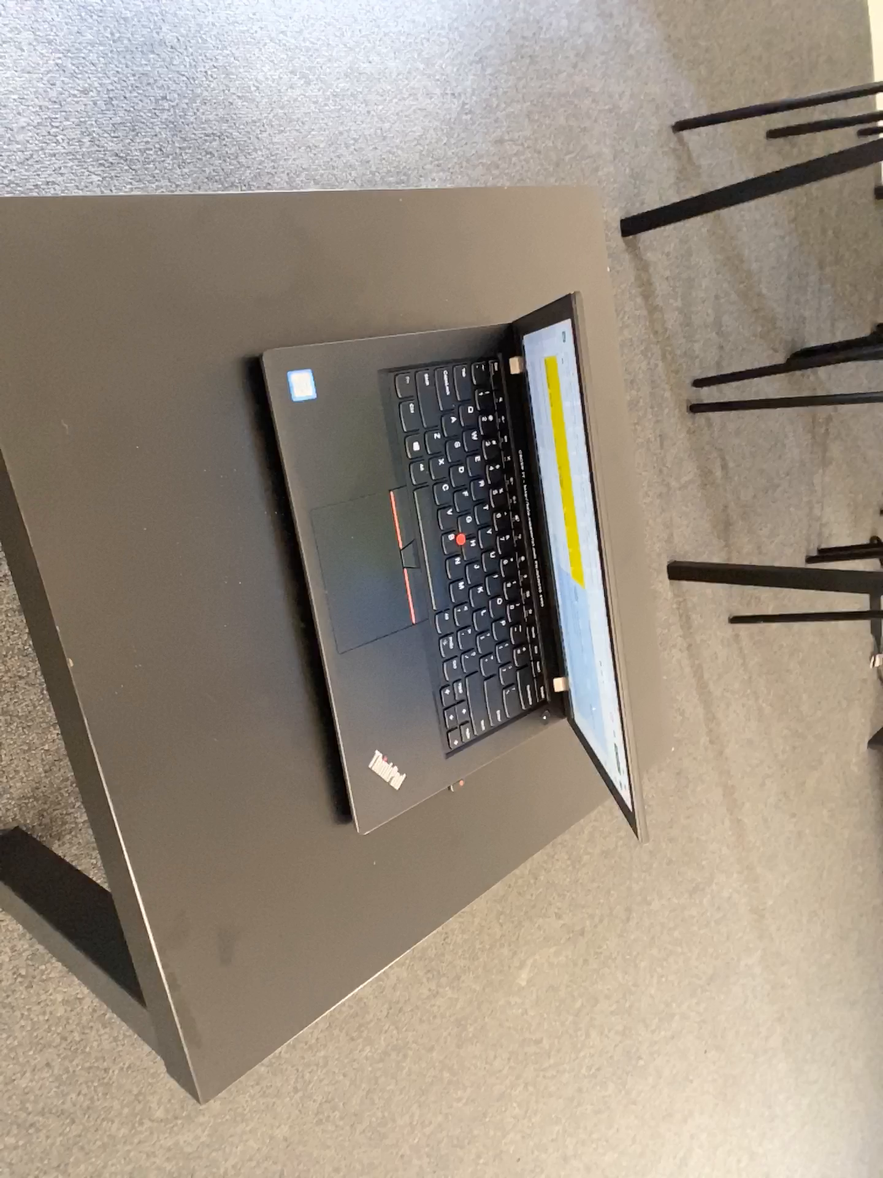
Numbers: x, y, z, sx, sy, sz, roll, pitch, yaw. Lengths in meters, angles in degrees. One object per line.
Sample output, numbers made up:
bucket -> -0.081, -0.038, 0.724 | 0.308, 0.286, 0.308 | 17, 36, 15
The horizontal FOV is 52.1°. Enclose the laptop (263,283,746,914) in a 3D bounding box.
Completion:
laptop -> 0.055, -0.010, 0.604 | 0.224, 0.165, 0.332 | -21, 107, -39
